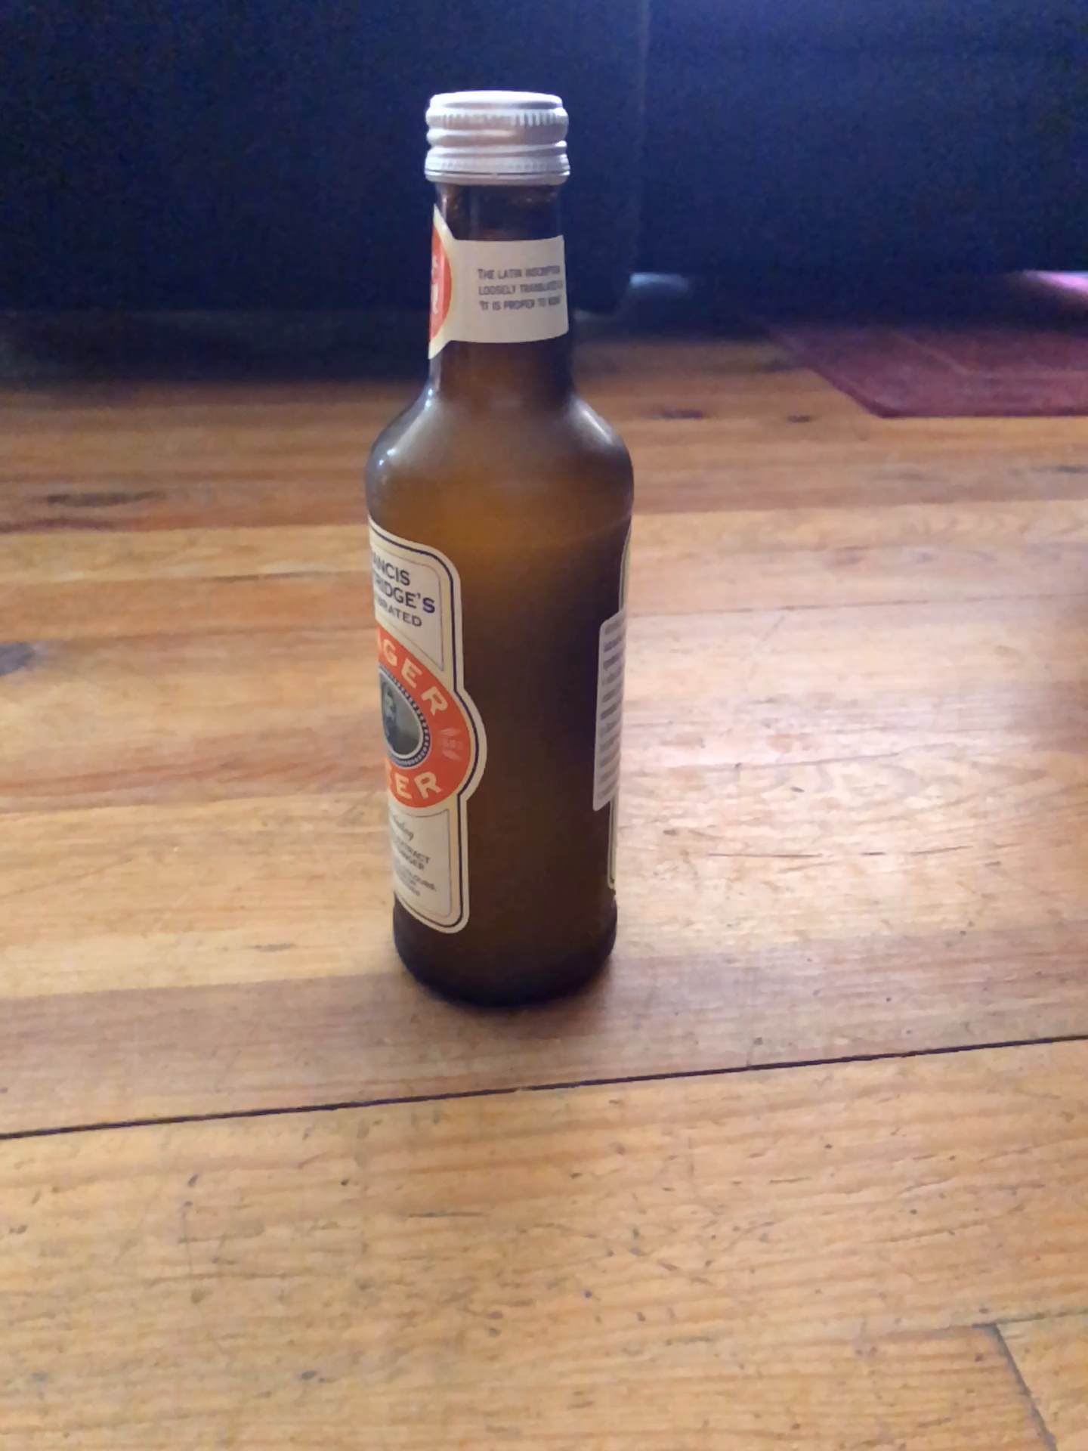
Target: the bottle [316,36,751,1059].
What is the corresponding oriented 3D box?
[{"bbox_3d":[-0.005,-0.035,0.275,0.060,0.209,0.070,-11,29,-21],"label":"bottle"}]
